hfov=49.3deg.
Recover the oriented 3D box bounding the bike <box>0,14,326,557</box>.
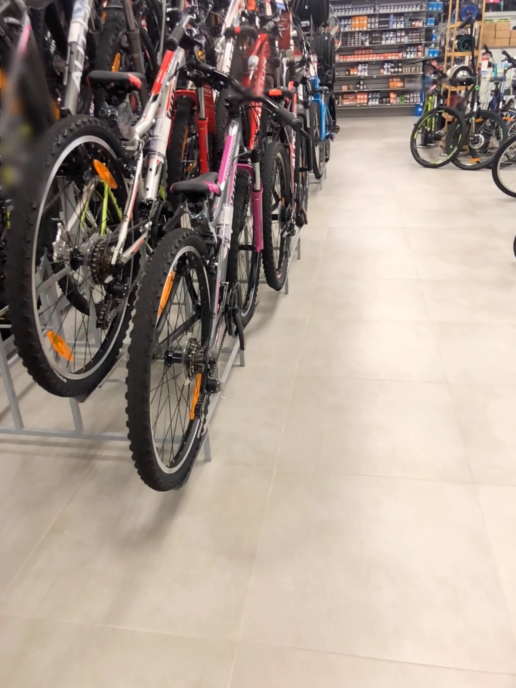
[{"bbox_3d":[-0.126,-0.426,1.746,0.598,0.990,1.615,2,29,9],"label":"bike"}]
